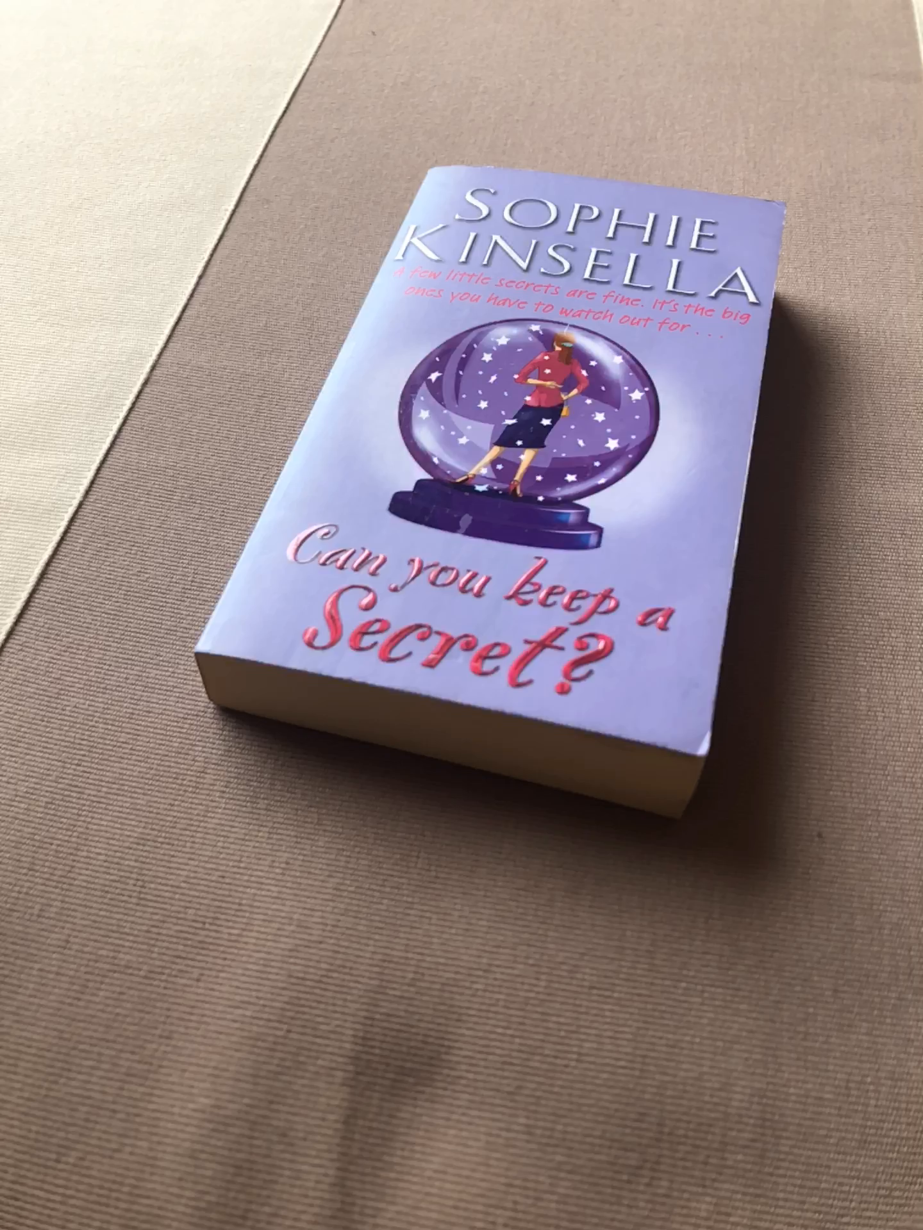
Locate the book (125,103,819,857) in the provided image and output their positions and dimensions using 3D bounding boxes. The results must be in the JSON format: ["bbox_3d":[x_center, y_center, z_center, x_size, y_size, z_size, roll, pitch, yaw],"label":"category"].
[{"bbox_3d":[0.016,-0.047,0.241,0.110,0.040,0.181,12,56,9],"label":"book"}]
